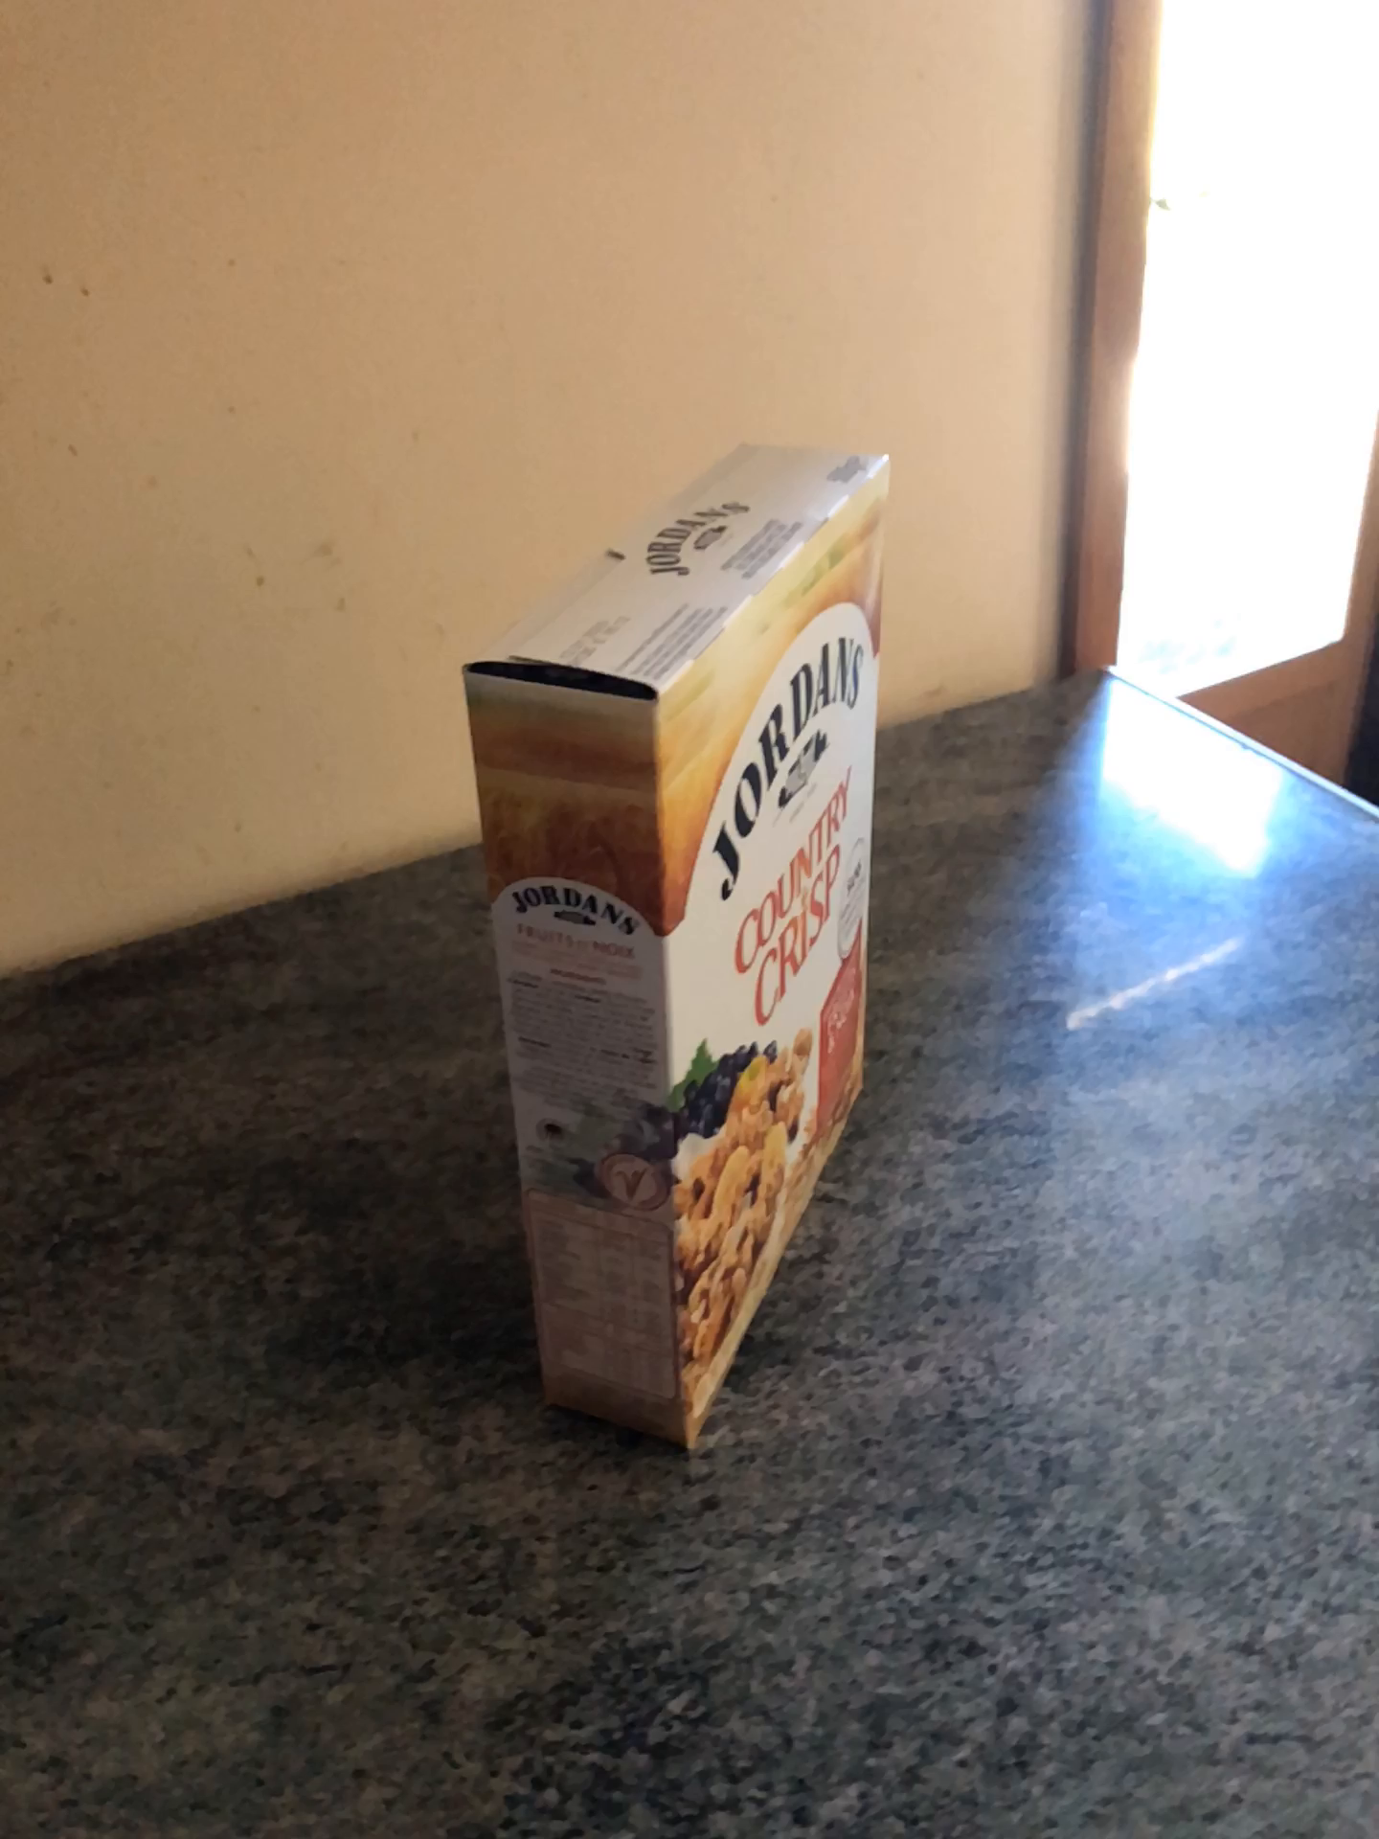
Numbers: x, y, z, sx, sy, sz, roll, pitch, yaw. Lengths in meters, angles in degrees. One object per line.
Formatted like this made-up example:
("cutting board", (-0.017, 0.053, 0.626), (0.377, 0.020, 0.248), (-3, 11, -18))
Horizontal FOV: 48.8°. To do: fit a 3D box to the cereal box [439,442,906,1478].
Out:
("cereal box", (0.007, 0.005, 0.467), (0.060, 0.249, 0.191), (10, 33, 18))
